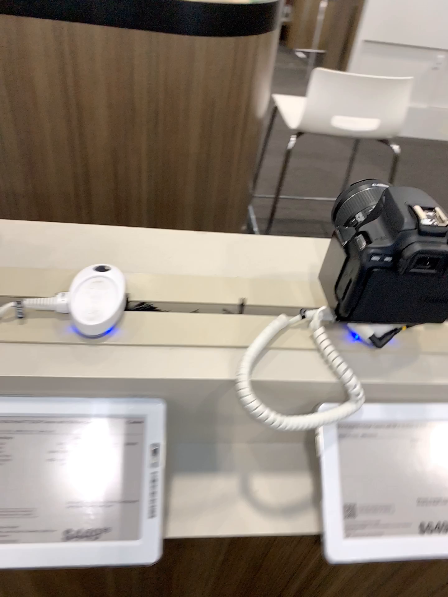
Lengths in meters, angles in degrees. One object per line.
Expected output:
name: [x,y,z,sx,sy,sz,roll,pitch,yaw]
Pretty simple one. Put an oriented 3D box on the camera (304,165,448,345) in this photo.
camera: [0.156,-0.041,0.407,0.121,0.089,0.135,0,43,-10]
